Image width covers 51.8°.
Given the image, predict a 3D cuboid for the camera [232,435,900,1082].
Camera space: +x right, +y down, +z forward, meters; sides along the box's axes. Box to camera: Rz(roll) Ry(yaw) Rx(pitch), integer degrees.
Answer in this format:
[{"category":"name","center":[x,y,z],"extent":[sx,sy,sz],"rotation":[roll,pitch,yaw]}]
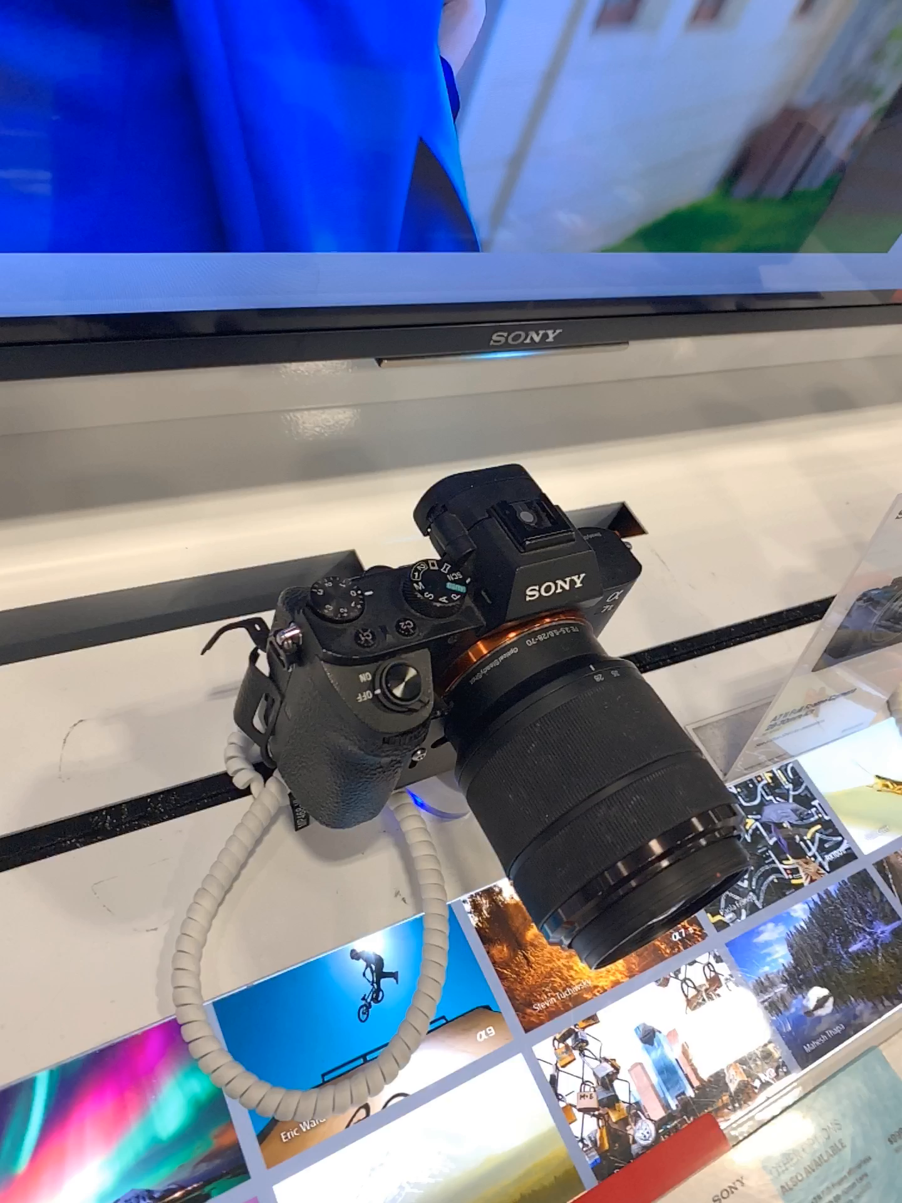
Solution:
[{"category":"camera","center":[0.024,0.038,0.289],"extent":[0.130,0.090,0.142],"rotation":[-13,58,-29]}]
